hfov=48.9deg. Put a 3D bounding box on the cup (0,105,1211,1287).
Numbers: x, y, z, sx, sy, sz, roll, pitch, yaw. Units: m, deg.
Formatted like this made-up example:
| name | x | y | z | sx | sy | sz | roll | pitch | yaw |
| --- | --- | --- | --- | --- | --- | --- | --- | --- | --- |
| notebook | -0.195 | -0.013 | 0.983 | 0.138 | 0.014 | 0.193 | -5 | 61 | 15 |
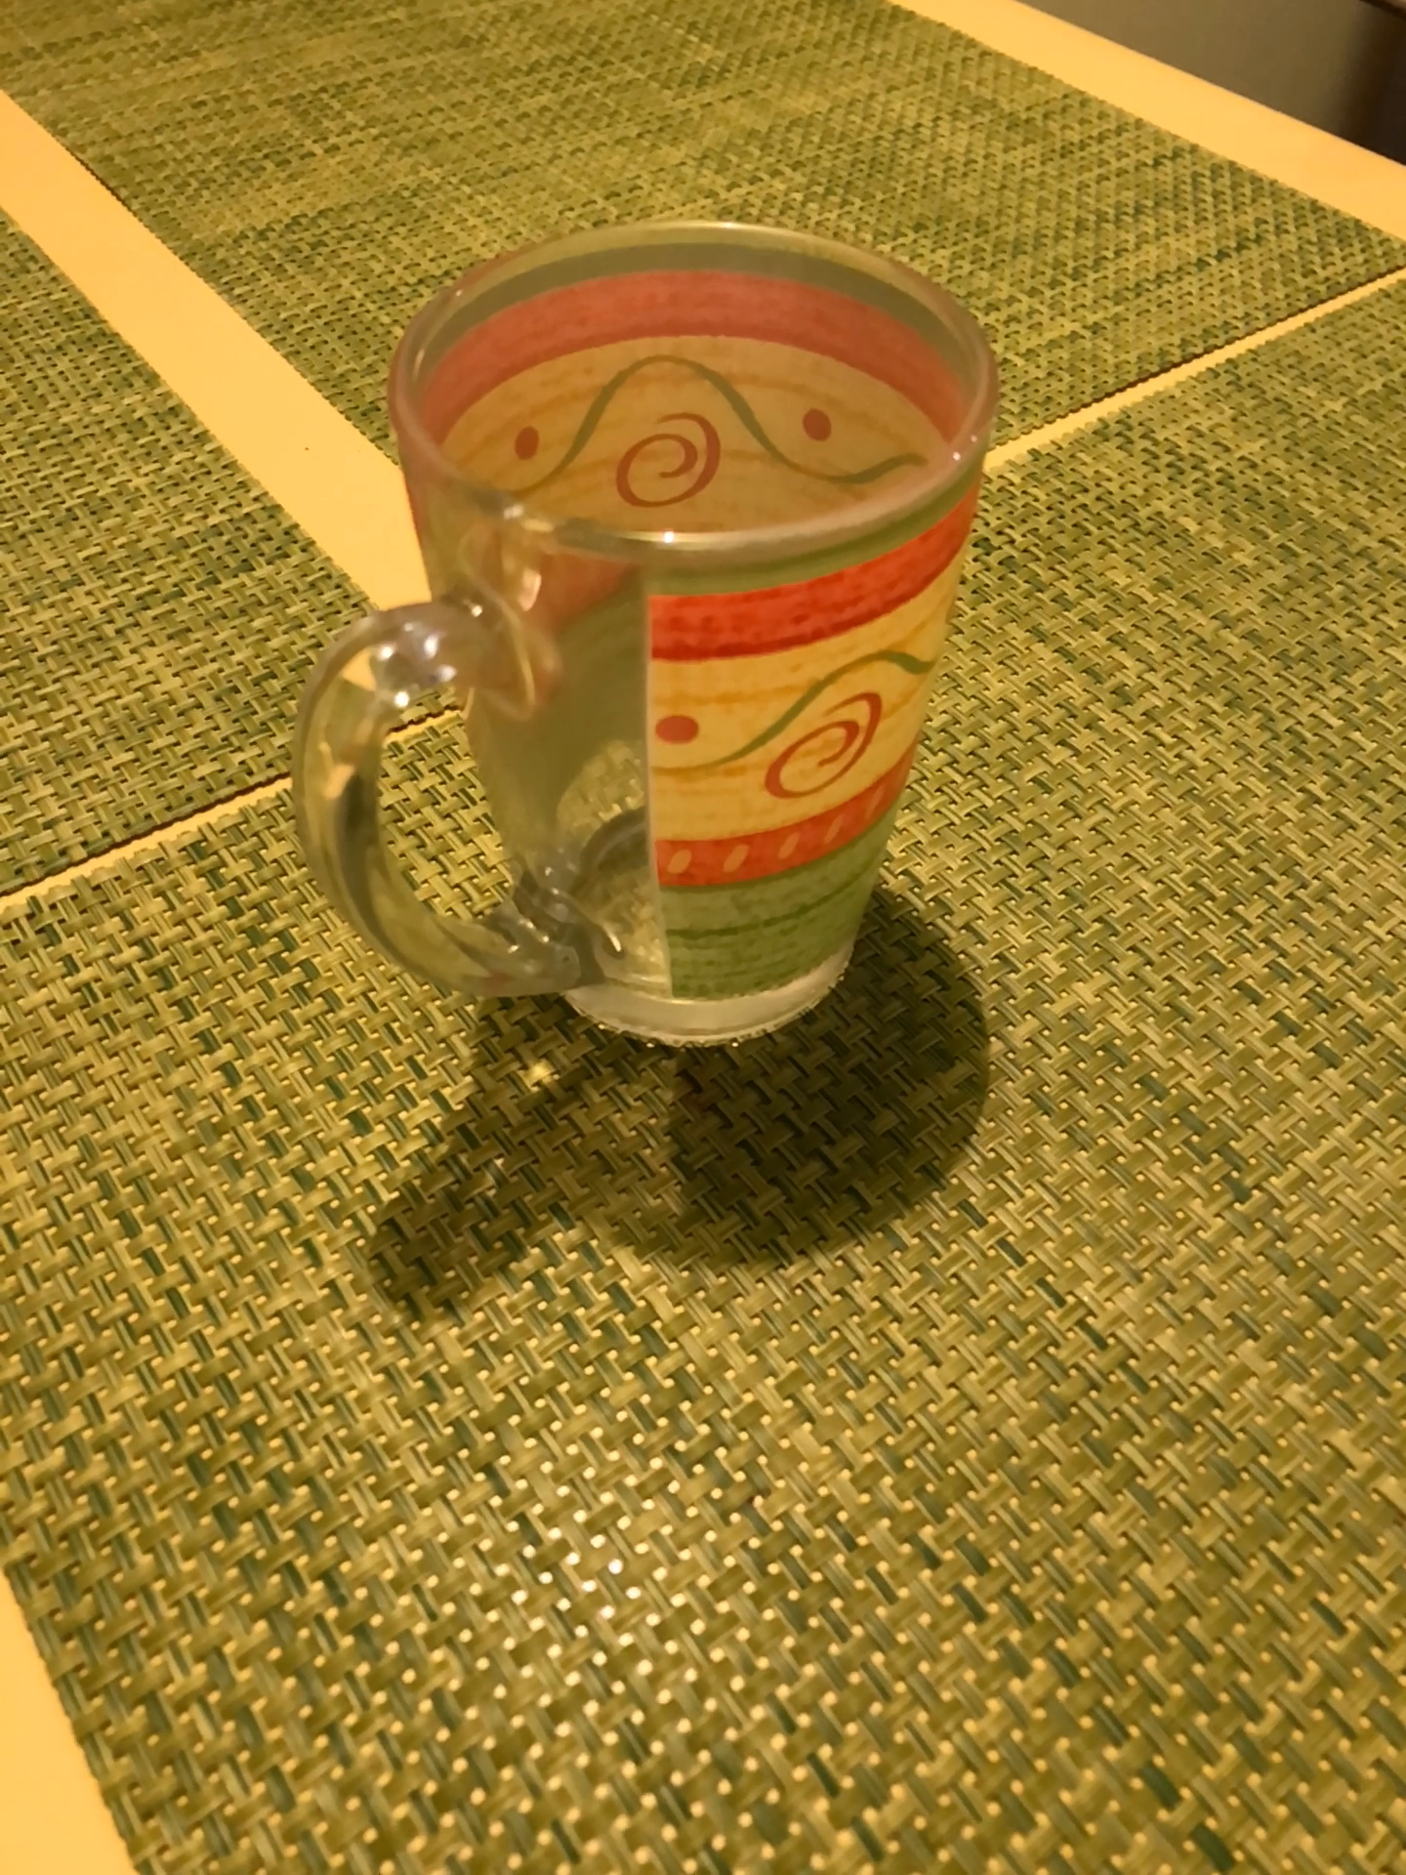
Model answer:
| name | x | y | z | sx | sy | sz | roll | pitch | yaw |
| --- | --- | --- | --- | --- | --- | --- | --- | --- | --- |
| cup | -0.010 | -0.040 | 0.219 | 0.090 | 0.089 | 0.121 | 33 | 56 | 25 |
